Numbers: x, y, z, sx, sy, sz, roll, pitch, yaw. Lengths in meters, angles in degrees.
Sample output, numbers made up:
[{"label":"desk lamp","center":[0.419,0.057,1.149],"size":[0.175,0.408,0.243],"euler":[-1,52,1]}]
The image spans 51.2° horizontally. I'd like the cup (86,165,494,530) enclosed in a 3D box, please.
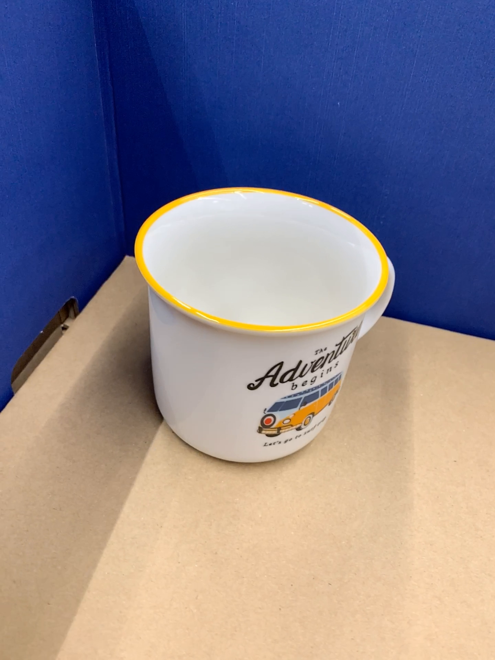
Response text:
[{"label":"cup","center":[0.012,-0.004,0.227],"size":[0.124,0.083,0.102],"euler":[-19,45,-26]}]
